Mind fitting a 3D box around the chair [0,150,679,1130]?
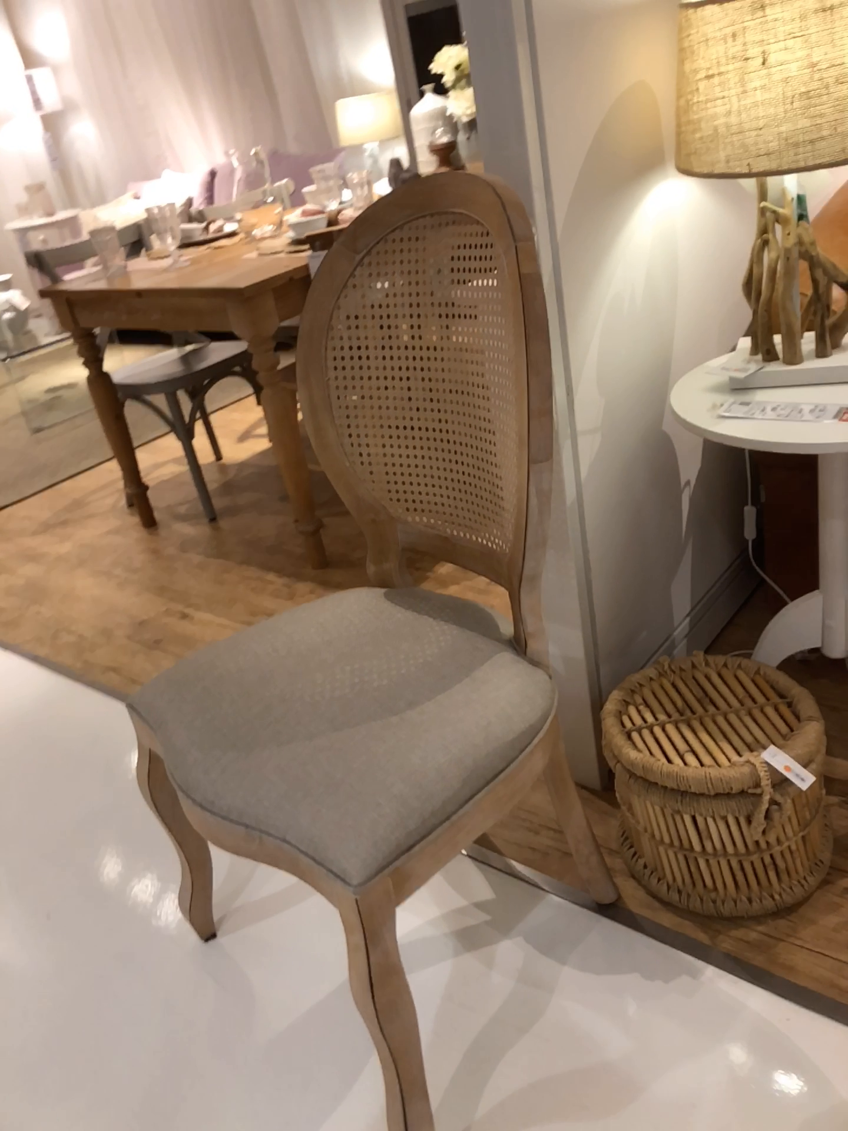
[{"bbox_3d":[-0.121,0.086,1.128,0.522,0.963,0.592,-30,32,-32],"label":"chair"}]
